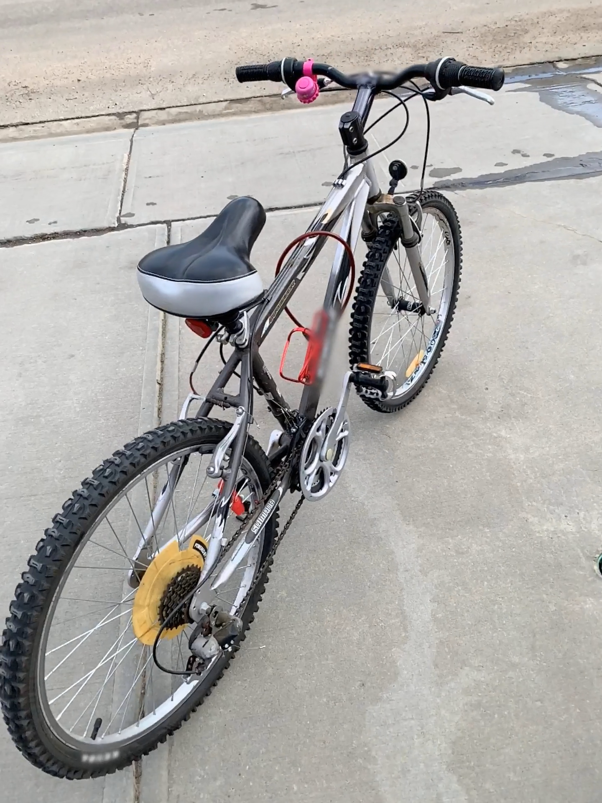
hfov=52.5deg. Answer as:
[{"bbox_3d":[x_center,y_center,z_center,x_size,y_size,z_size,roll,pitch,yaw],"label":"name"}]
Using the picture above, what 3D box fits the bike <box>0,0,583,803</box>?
[{"bbox_3d":[-0.025,-0.123,1.189,0.540,0.825,1.504,20,51,25],"label":"bike"}]
